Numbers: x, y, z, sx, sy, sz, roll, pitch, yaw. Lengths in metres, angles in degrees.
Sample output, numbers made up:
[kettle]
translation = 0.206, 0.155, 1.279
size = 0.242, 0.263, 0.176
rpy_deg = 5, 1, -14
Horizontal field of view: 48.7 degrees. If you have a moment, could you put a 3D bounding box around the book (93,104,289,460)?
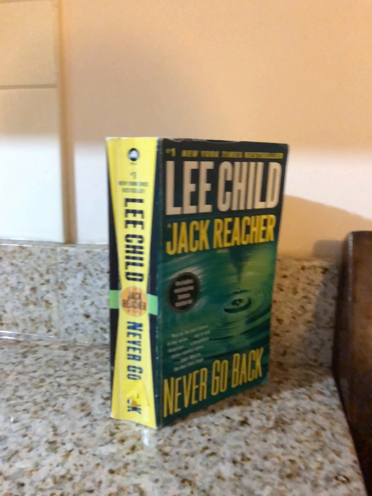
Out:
[book]
translation = 0.009, 0.015, 0.320
size = 0.050, 0.219, 0.160
rpy_deg = 12, 15, 40
